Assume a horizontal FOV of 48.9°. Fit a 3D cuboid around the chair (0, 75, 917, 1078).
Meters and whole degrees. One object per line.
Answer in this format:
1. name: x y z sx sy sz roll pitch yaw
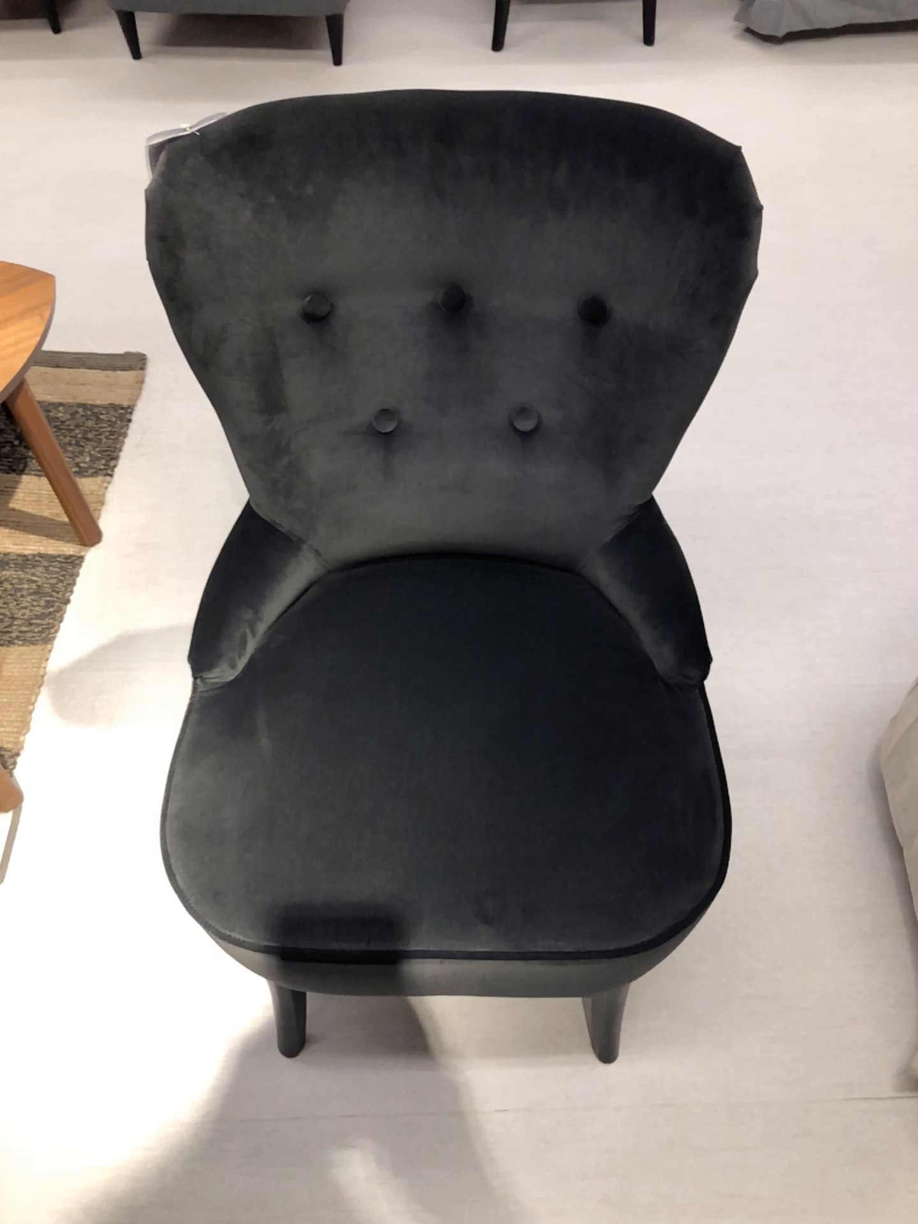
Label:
1. chair: 0.002 0.008 1.108 0.600 0.776 0.794 0 56 0
